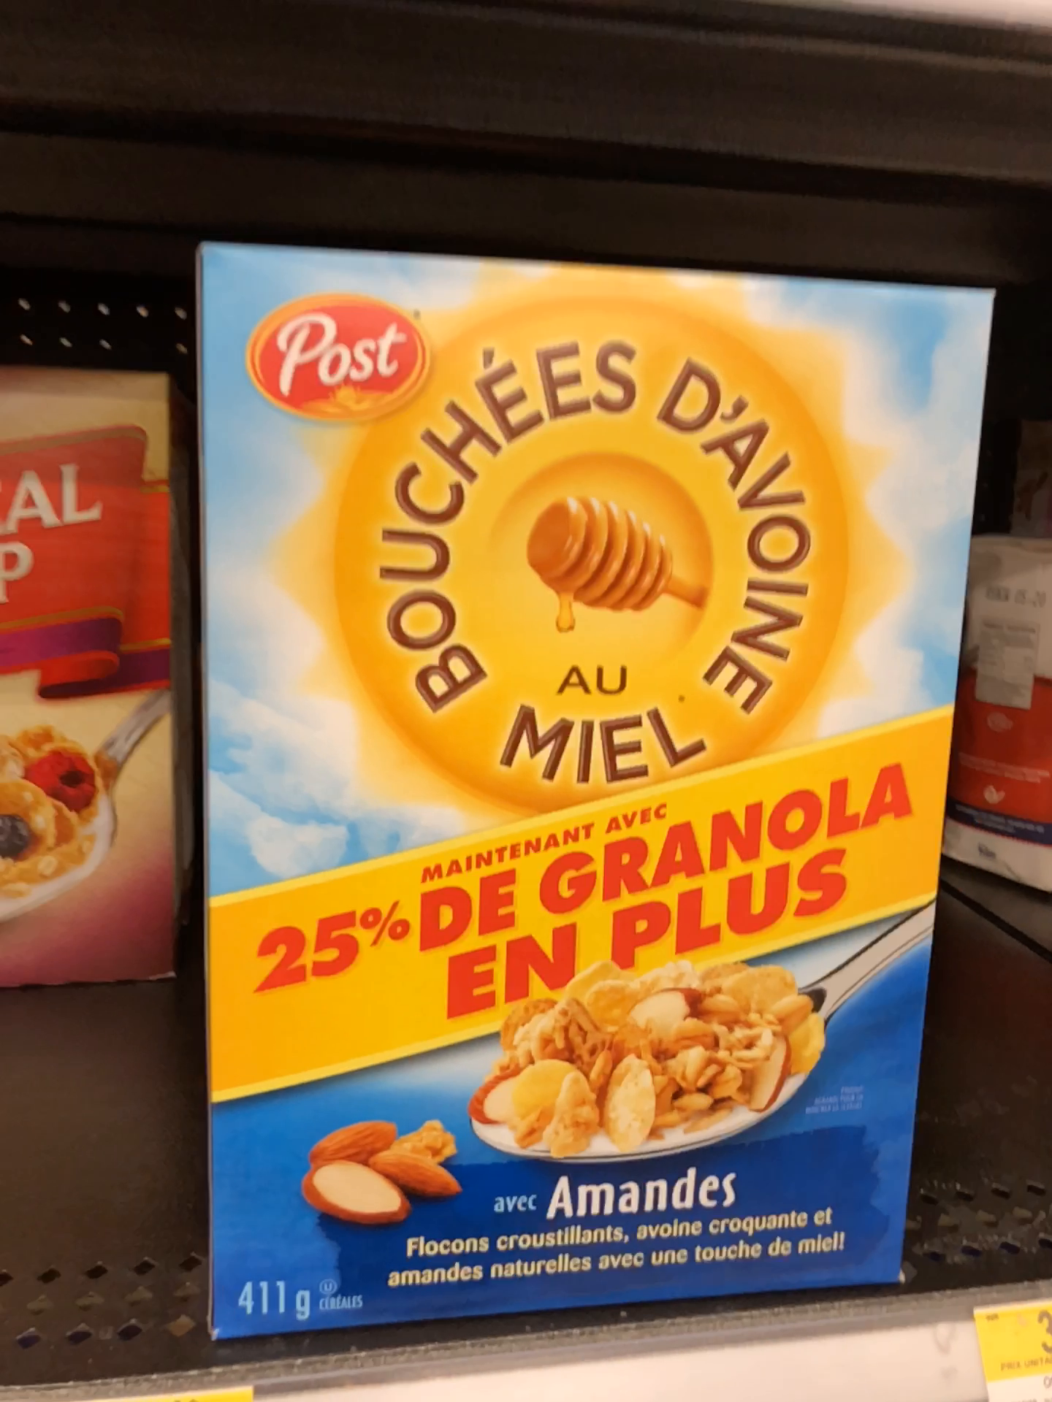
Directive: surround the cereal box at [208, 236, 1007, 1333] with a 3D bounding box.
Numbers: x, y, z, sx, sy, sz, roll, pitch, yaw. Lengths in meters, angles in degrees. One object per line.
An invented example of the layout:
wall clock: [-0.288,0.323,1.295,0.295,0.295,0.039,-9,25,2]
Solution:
cereal box: [0.015,0.025,0.321,0.190,0.269,0.060,1,9,-8]
